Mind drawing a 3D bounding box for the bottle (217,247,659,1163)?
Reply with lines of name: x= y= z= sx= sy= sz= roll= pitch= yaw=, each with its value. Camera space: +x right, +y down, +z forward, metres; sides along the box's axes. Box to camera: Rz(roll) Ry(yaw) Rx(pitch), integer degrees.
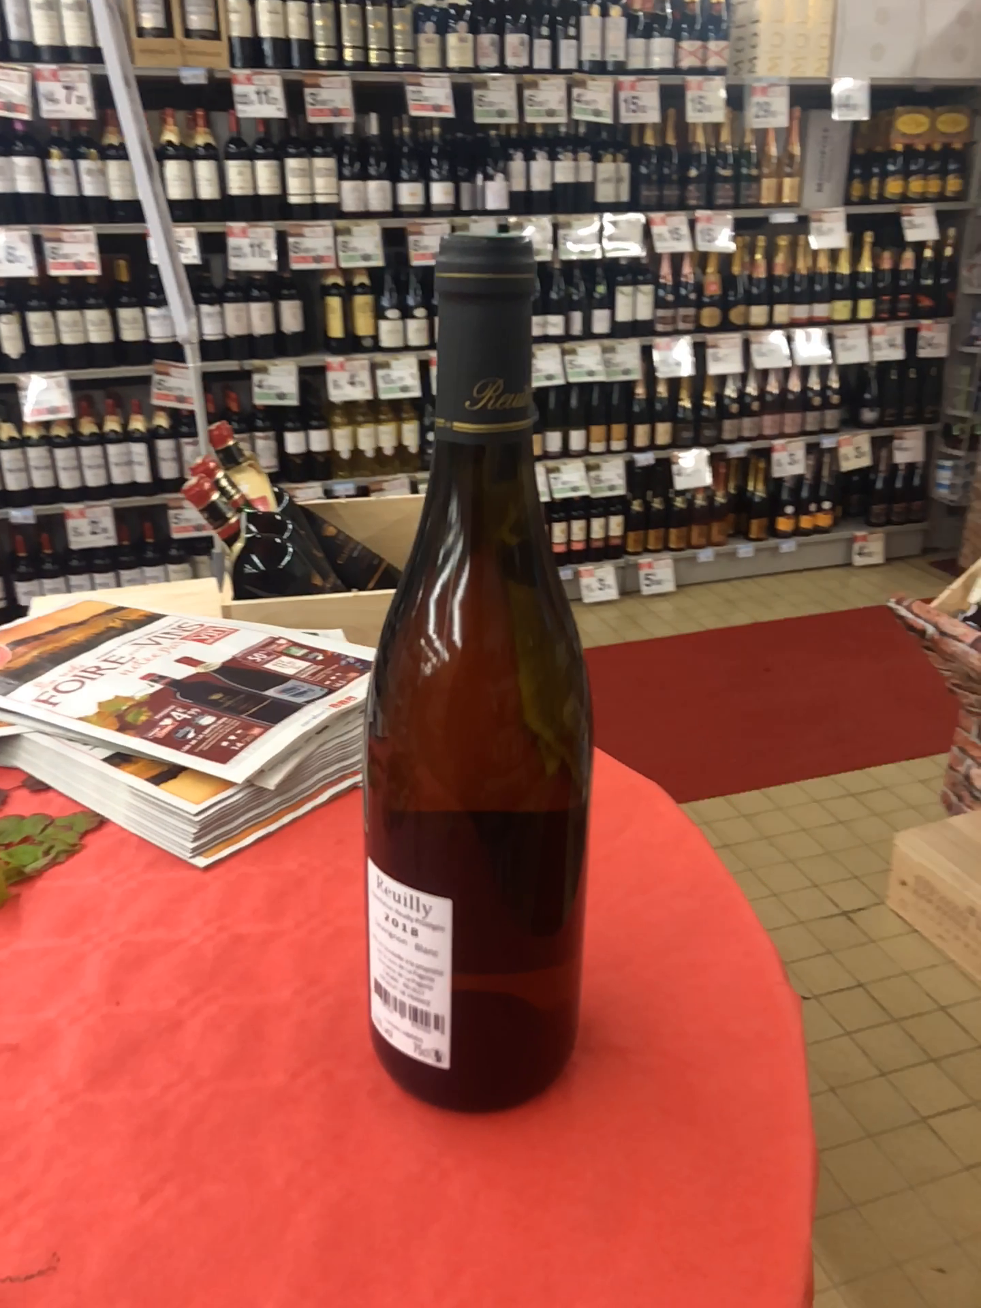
bottle: x=-0.011 y=0.014 z=0.360 sx=0.090 sy=0.279 sz=0.091 roll=-1 pitch=22 yaw=0
